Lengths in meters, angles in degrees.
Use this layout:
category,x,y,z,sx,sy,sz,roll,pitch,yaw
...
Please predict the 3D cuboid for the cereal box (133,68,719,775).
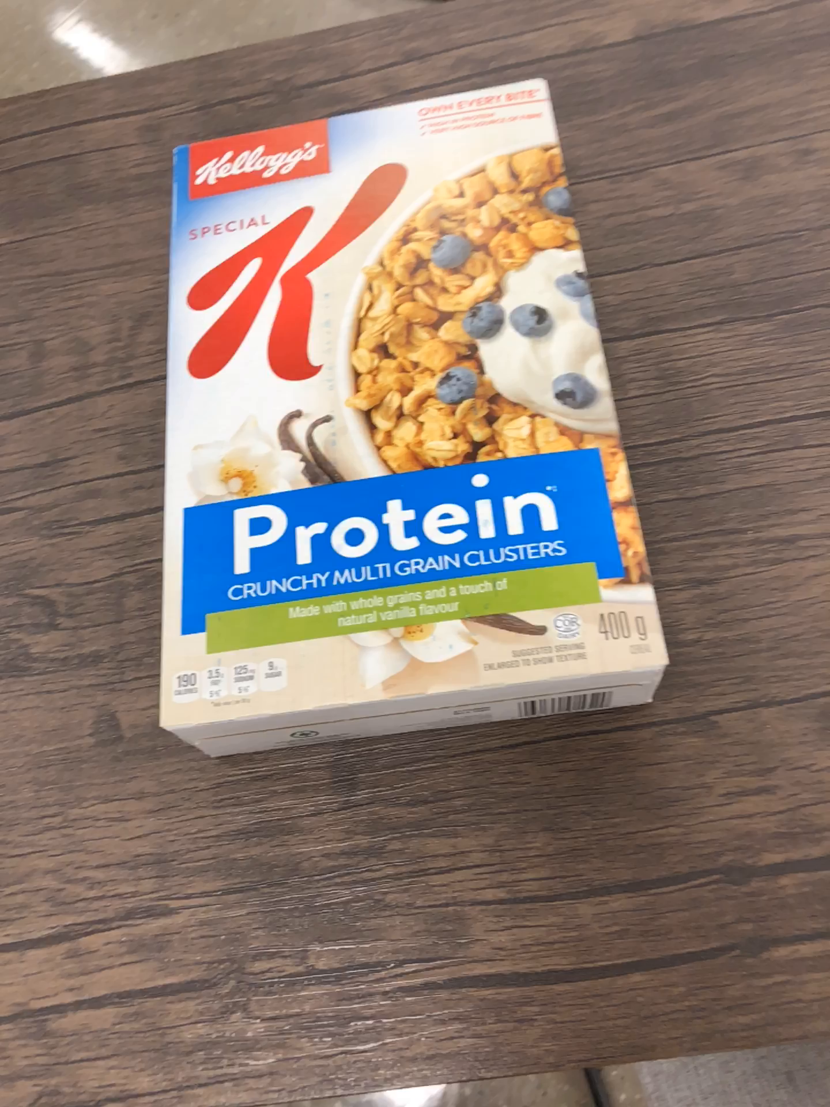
category,x,y,z,sx,sy,sz,roll,pitch,yaw
cereal box,-0.008,-0.060,0.357,0.180,0.050,0.260,-8,65,5
